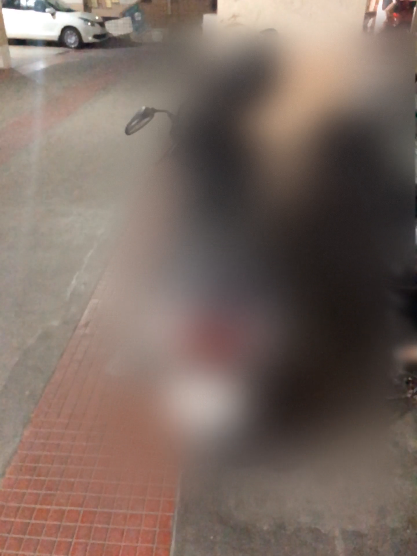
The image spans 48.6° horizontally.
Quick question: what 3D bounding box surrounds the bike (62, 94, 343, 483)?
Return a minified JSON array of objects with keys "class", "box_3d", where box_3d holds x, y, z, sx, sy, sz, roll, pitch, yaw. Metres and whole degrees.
[{"class":"bike","box_3d":[-0.079,-0.134,1.893,0.594,0.988,1.502,-1,28,-3]}]
